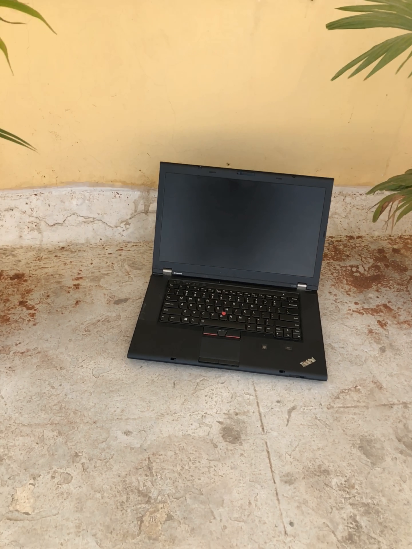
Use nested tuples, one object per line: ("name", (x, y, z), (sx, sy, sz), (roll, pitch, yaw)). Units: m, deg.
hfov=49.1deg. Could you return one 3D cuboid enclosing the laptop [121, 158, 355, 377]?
("laptop", (0.063, -0.032, 0.887), (0.360, 0.208, 0.353), (6, 41, 3))
